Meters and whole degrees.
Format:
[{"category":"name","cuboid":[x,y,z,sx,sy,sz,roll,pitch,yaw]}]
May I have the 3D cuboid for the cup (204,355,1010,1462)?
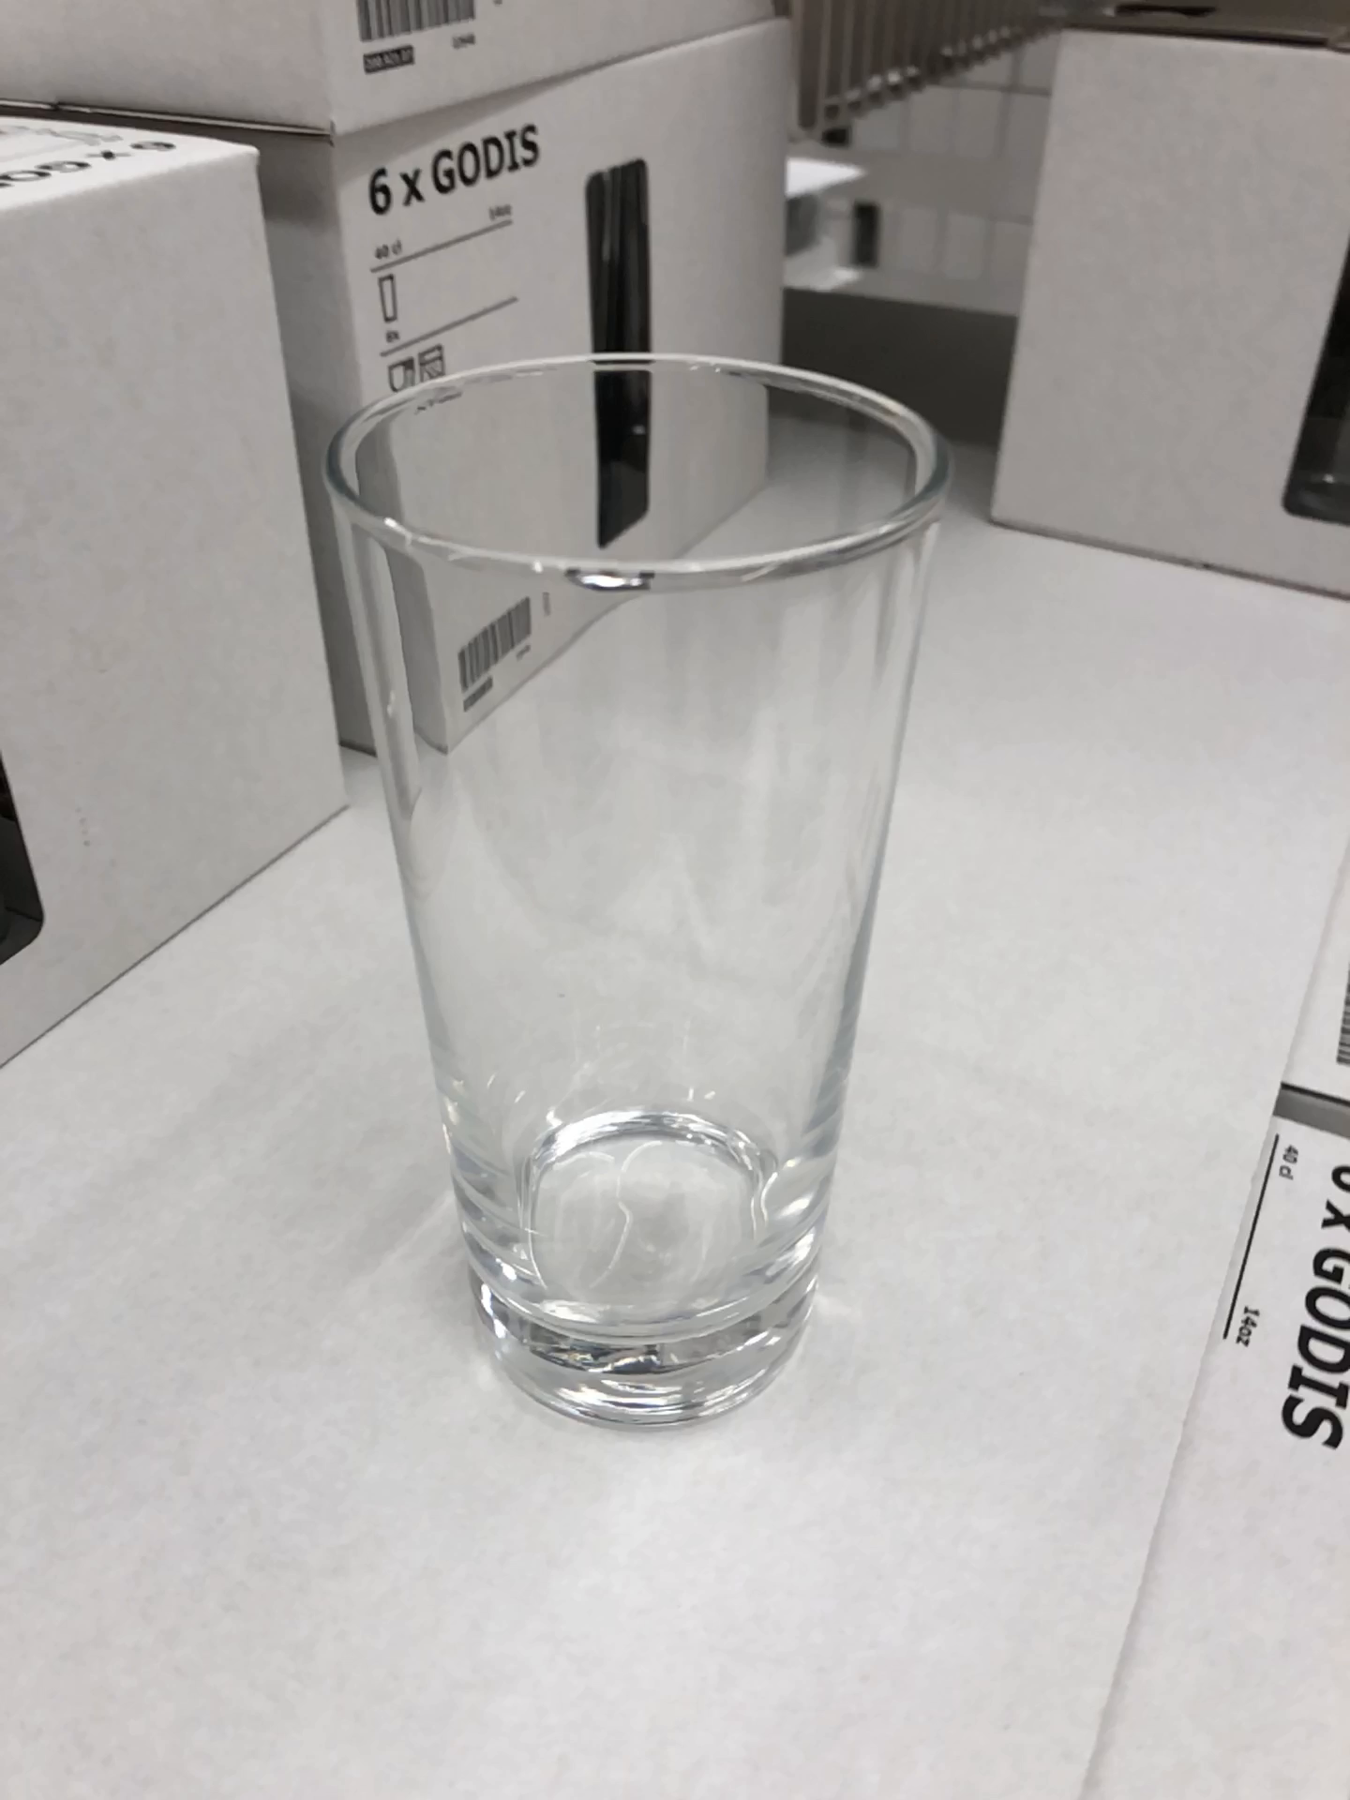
[{"category":"cup","cuboid":[-0.006,0.004,0.222,0.080,0.139,0.080,0,35,0]}]
